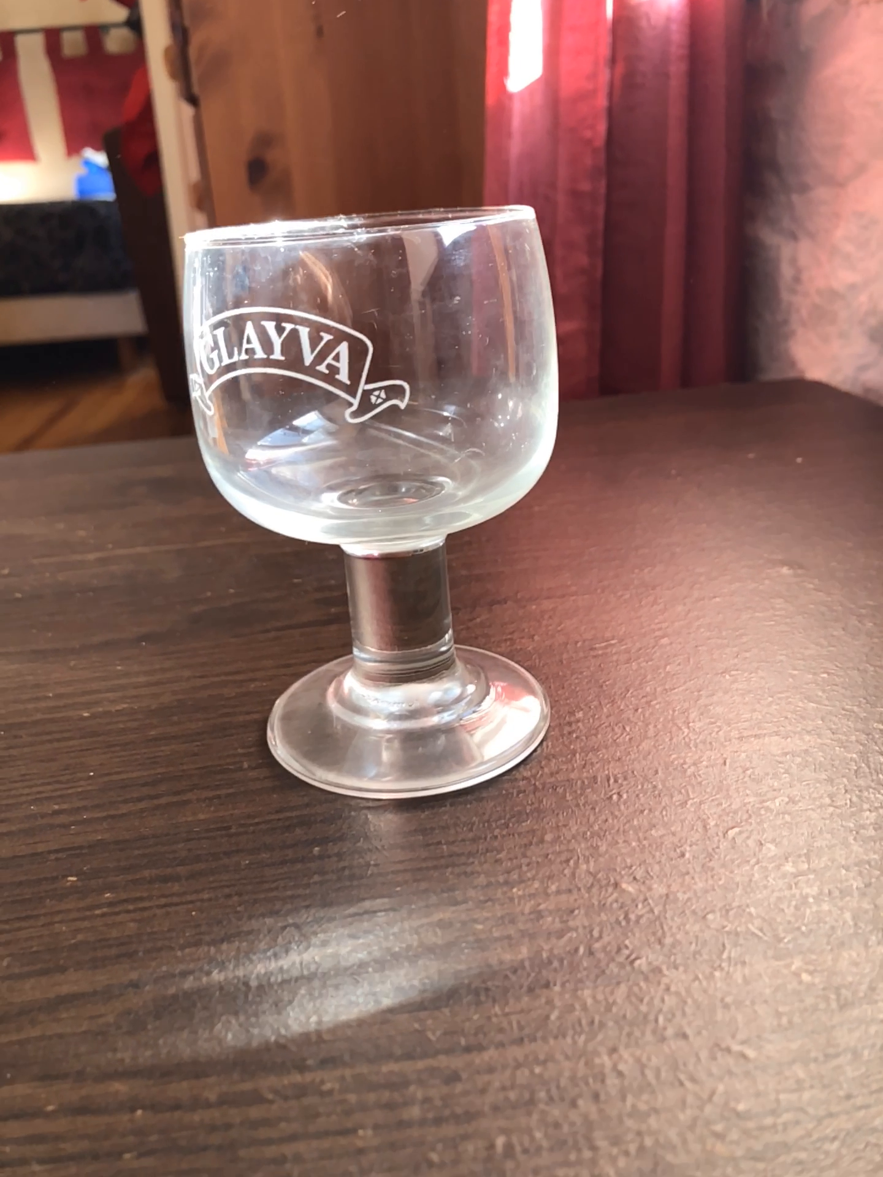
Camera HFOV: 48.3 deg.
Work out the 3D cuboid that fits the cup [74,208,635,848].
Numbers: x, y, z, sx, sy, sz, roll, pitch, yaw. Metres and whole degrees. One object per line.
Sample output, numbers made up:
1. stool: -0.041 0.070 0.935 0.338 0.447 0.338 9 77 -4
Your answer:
1. cup: -0.010 -0.022 0.213 0.077 0.107 0.086 8 24 25
